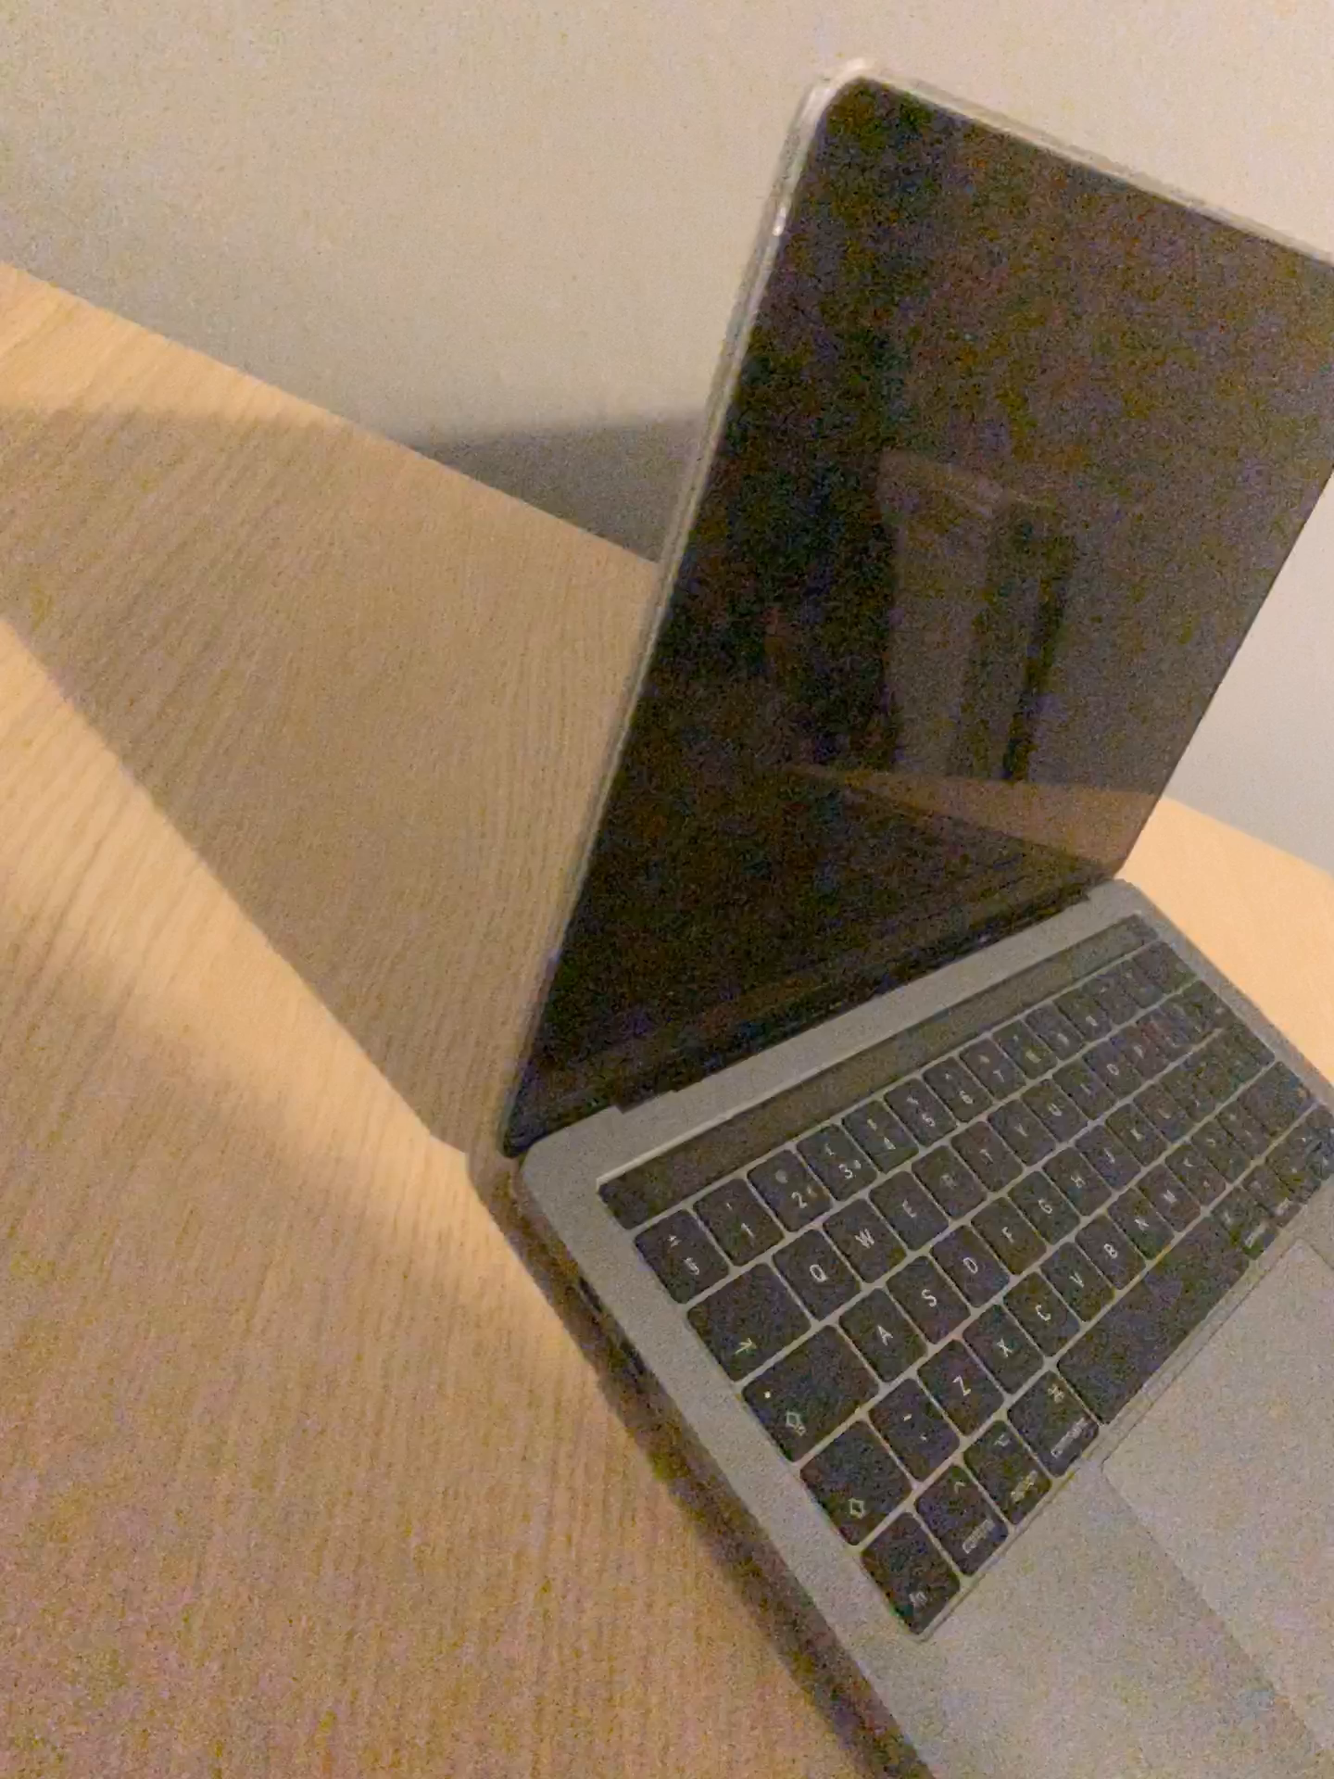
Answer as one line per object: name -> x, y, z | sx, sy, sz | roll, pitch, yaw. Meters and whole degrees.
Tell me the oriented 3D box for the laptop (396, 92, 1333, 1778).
laptop -> 0.158, 0.018, 0.311 | 0.295, 0.197, 0.257 | -17, 59, -46
